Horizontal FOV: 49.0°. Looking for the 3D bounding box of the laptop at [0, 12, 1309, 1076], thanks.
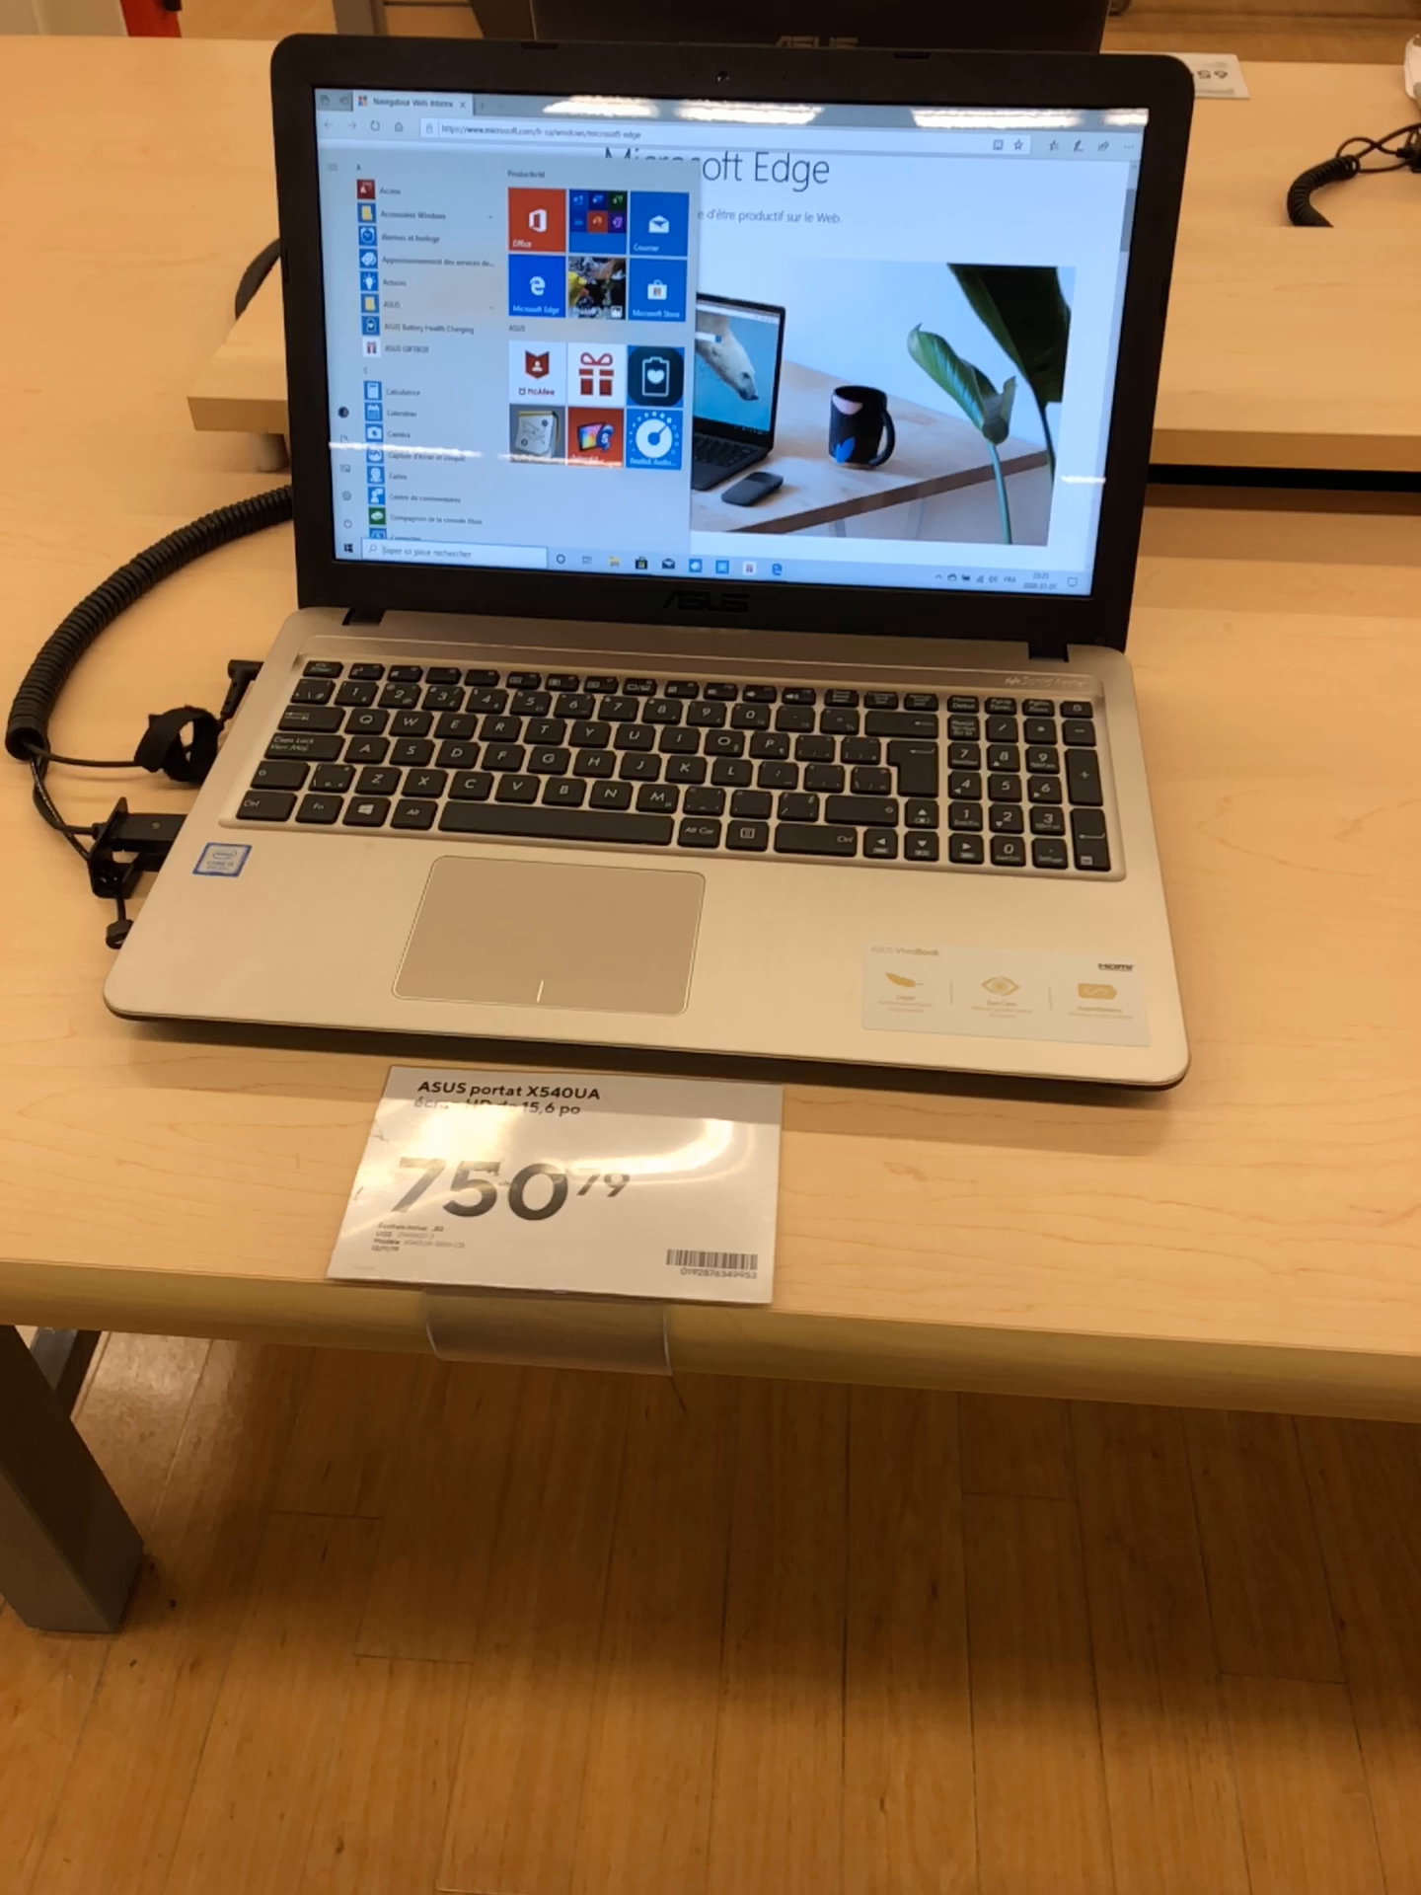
[{"bbox_3d":[-0.018,-0.177,0.616,0.383,0.215,0.361,3,48,3],"label":"laptop"}]
